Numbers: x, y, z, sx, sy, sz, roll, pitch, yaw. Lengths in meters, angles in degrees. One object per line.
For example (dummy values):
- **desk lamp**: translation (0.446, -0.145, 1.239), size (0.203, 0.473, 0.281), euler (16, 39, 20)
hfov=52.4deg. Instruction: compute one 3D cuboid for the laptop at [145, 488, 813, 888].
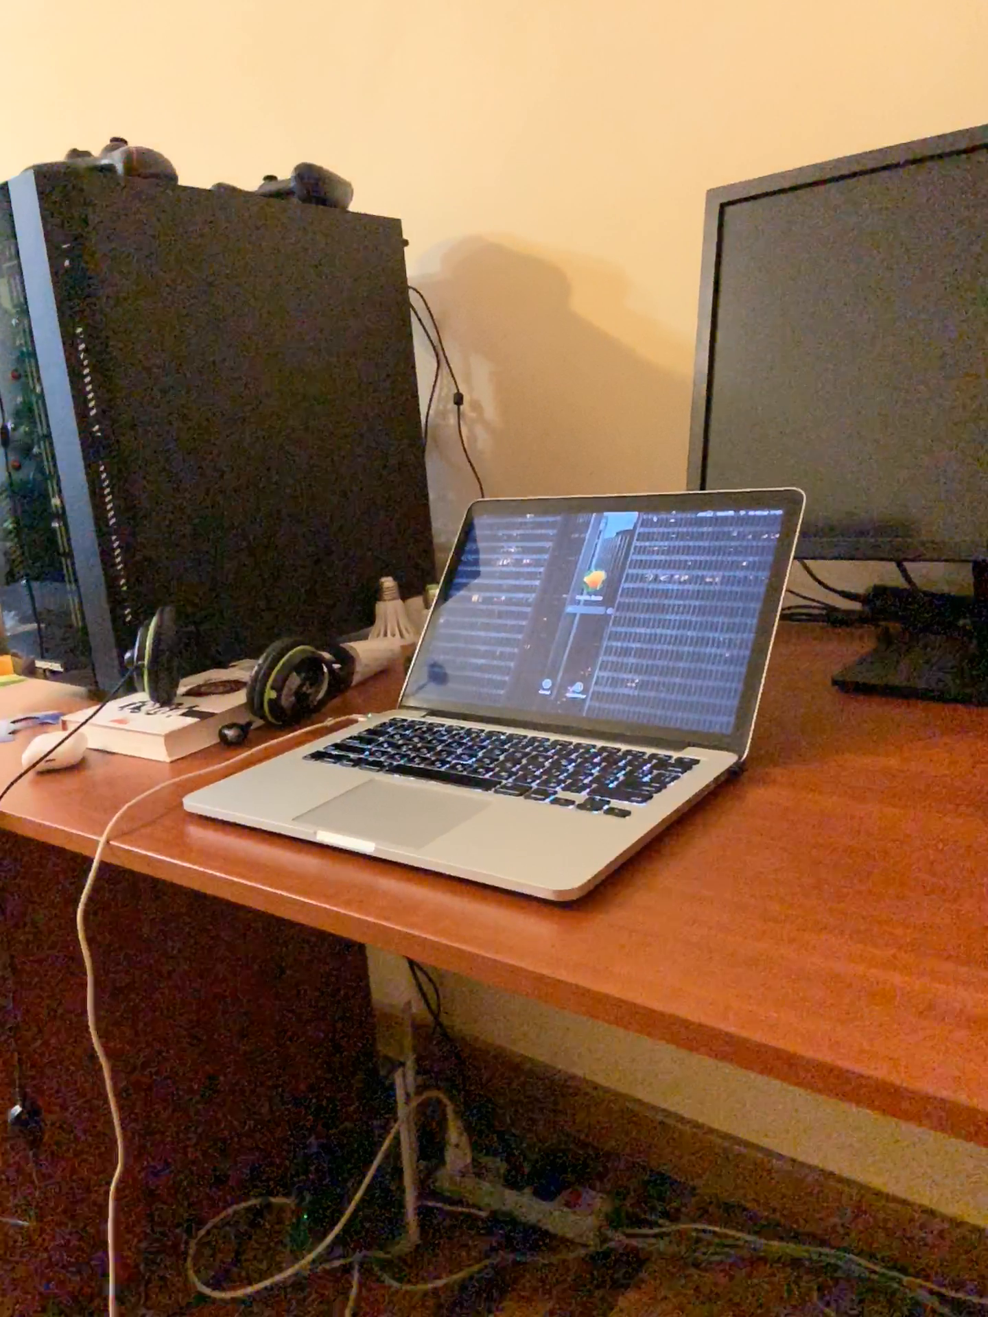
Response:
- **laptop**: translation (0.011, -0.015, 0.696), size (0.300, 0.155, 0.341), euler (5, 17, 36)
